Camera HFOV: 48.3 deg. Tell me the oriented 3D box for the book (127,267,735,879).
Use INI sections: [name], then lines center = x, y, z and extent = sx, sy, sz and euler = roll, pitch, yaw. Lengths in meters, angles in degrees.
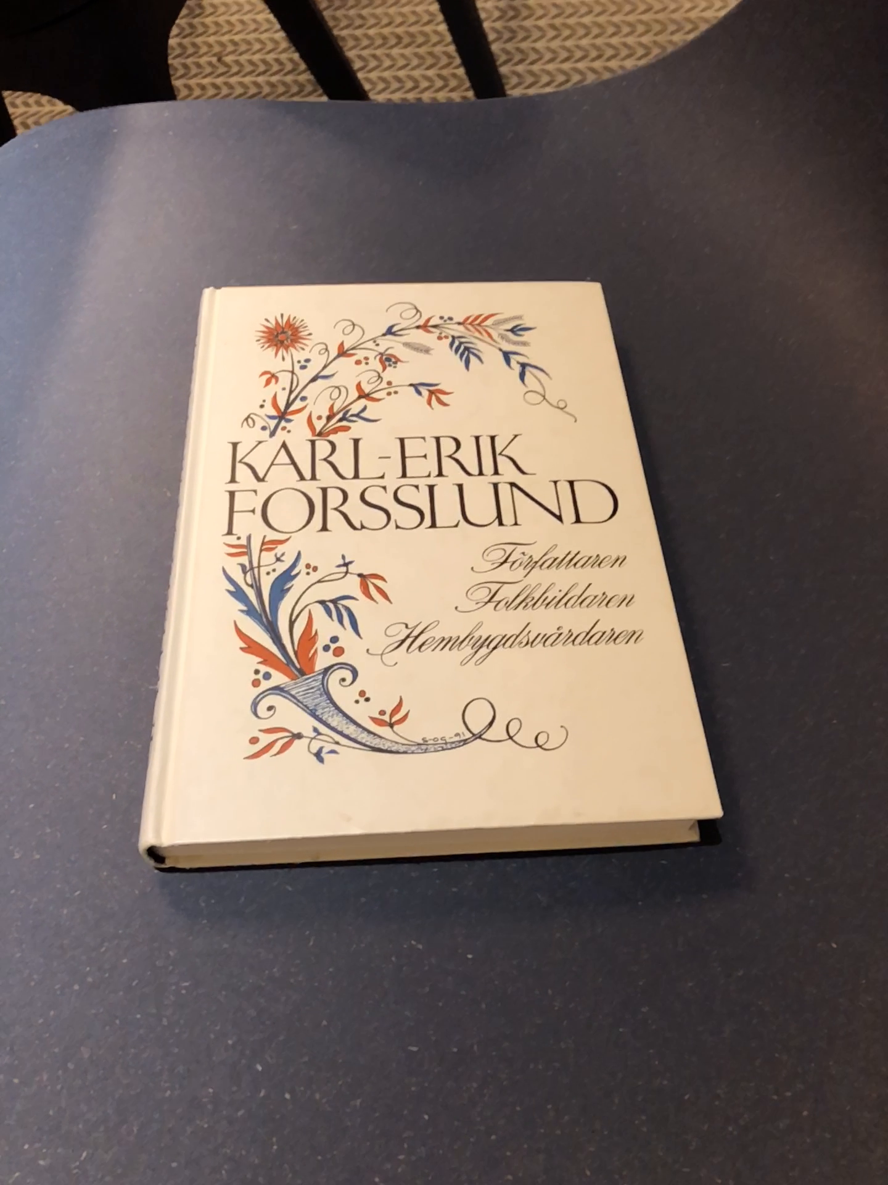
[book]
center = -0.009, -0.025, 0.343
extent = 0.164, 0.028, 0.233
euler = -2, 56, -3
